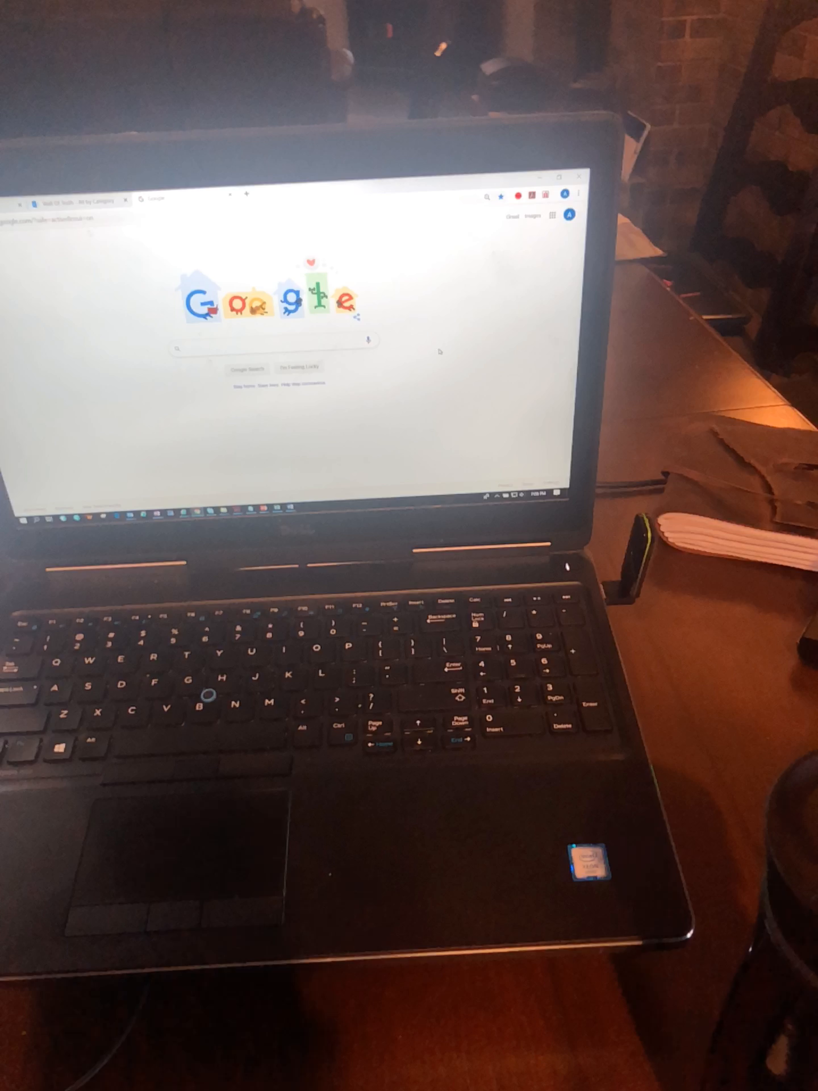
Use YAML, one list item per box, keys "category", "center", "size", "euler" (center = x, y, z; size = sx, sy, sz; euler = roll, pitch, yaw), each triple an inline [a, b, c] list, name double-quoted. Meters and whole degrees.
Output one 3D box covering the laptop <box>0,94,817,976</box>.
- category: "laptop"
  center: [-0.069, -0.024, 0.427]
  size: [0.367, 0.258, 0.287]
  euler: [-3, 37, -1]
